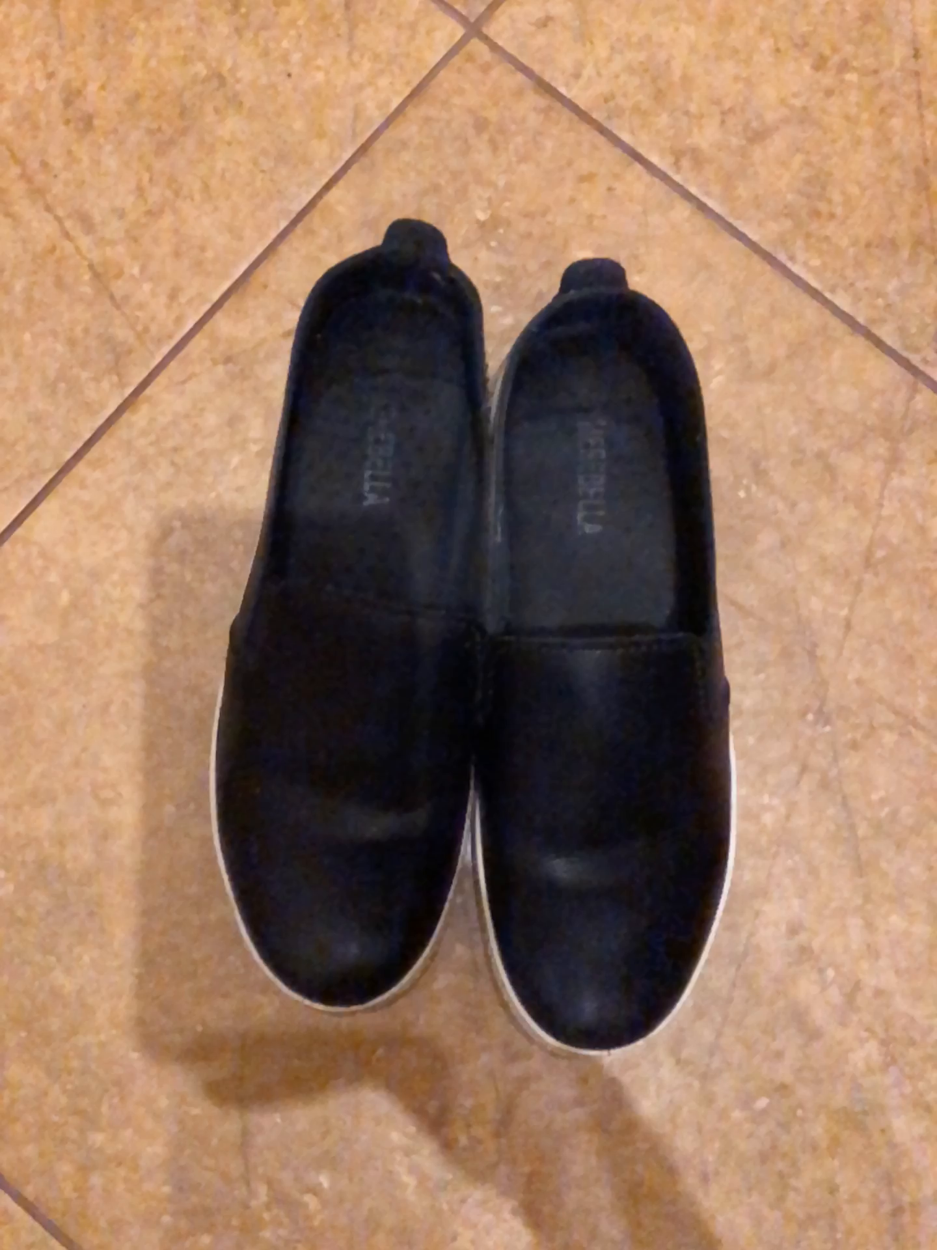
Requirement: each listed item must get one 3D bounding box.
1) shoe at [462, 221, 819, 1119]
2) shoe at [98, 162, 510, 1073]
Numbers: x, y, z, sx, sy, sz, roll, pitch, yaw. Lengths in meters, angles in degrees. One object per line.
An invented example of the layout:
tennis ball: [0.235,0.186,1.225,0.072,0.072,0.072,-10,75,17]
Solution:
shoe: [0.044,0.010,0.311,0.090,0.070,0.240,0,83,-1]
shoe: [-0.041,-0.004,0.311,0.090,0.070,0.240,4,83,0]
